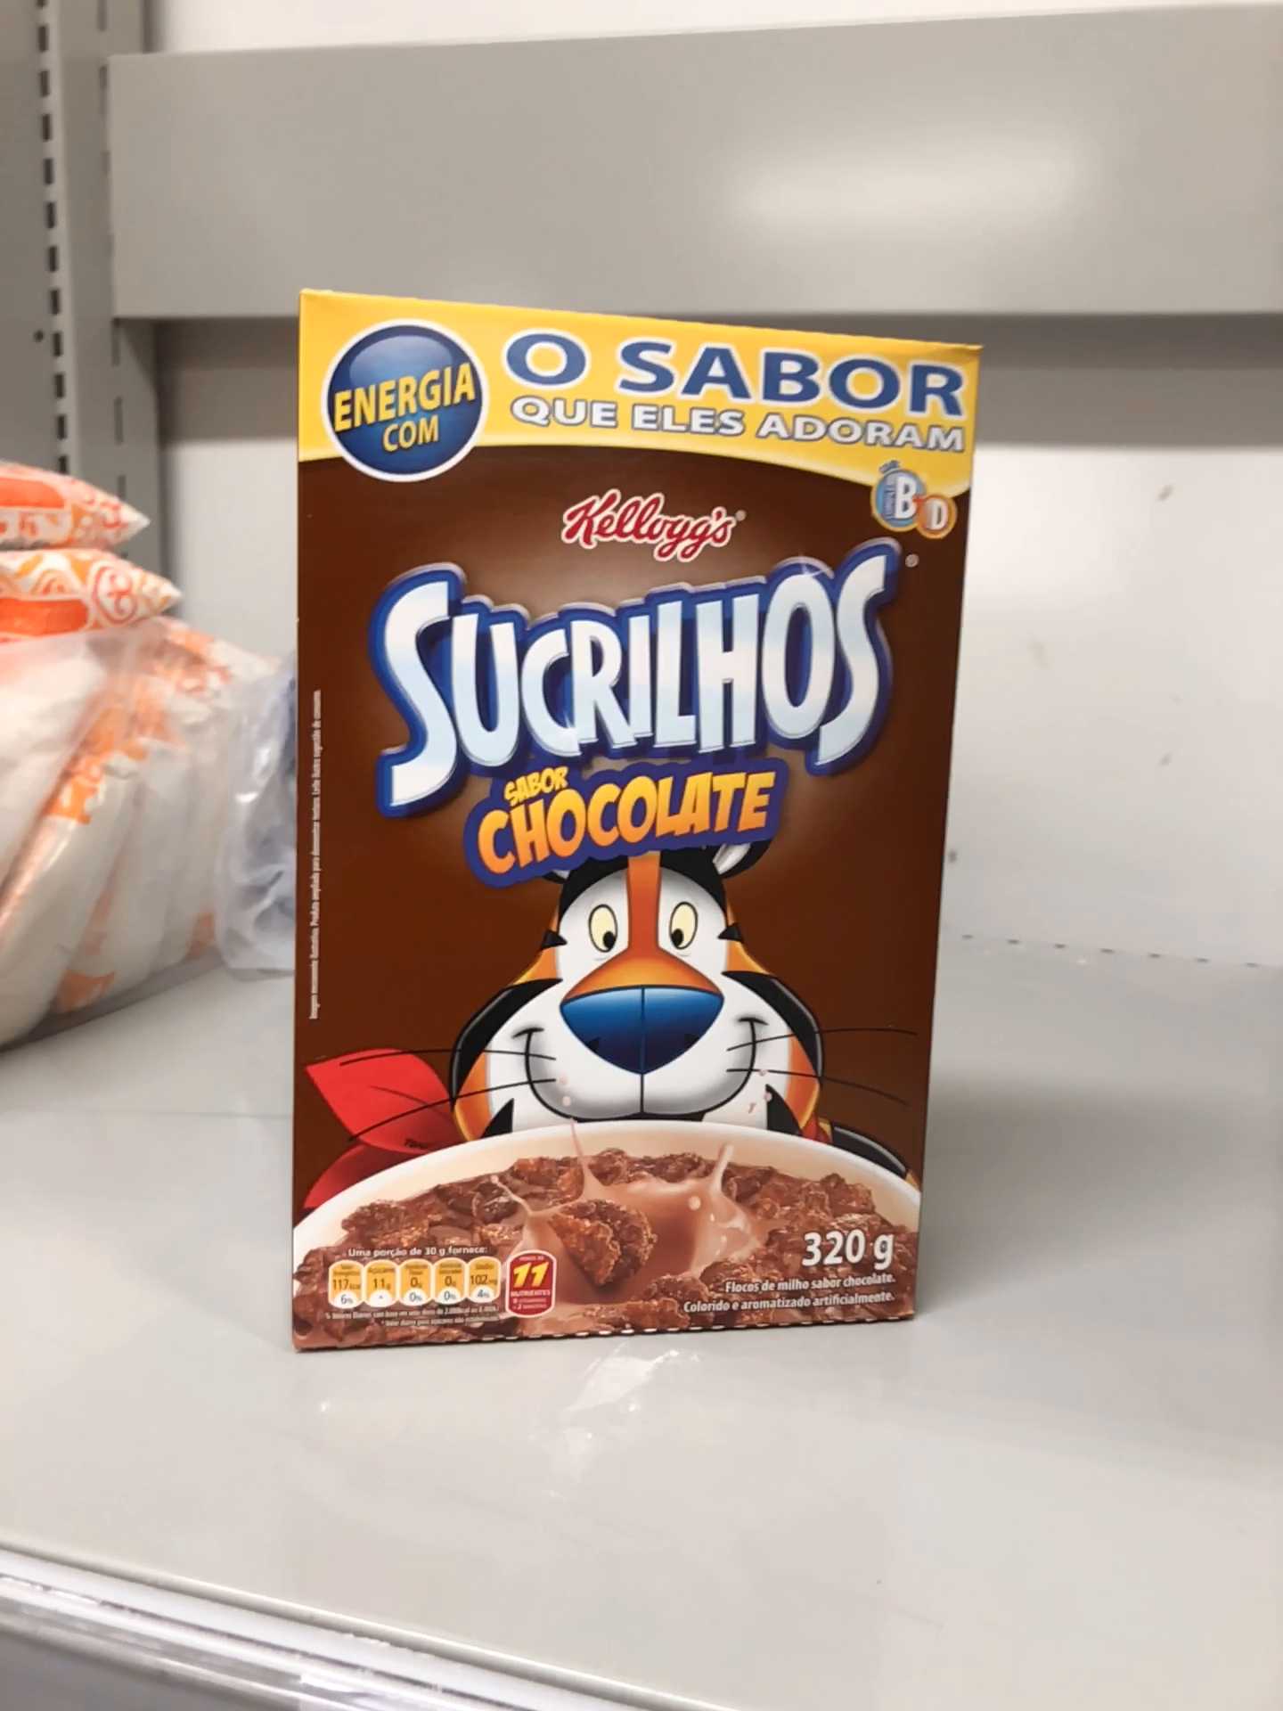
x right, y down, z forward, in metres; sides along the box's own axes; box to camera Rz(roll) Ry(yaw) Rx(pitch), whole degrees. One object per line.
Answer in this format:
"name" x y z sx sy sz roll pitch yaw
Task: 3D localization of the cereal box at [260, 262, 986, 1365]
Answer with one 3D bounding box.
"cereal box" -0.012 -0.009 0.399 0.180 0.269 0.070 0 9 -13
